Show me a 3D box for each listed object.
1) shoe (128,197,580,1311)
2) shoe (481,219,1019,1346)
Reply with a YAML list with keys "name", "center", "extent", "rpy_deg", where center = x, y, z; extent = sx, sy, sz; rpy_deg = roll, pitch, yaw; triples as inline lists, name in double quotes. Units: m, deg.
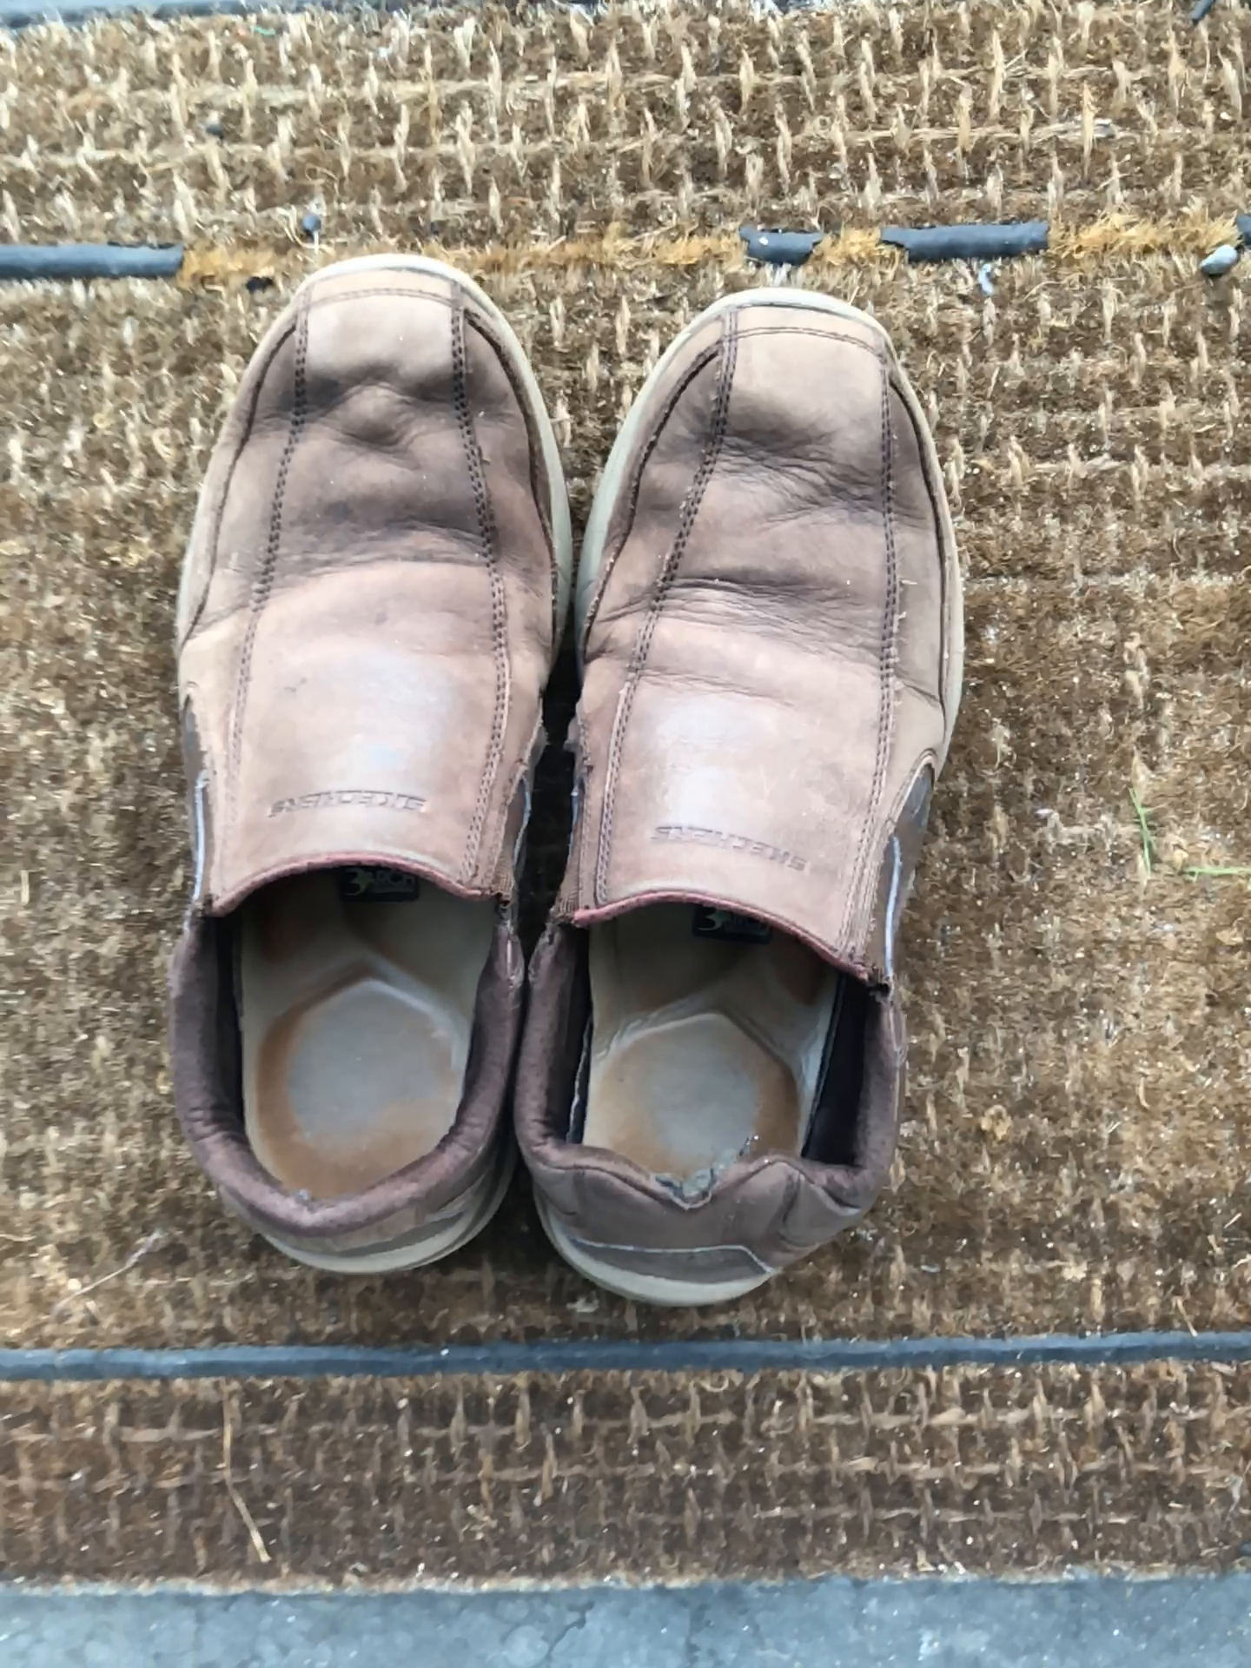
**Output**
- name: "shoe"
  center: [-0.069, -0.019, 0.384]
  extent: [0.100, 0.100, 0.267]
  rpy_deg: [2, 94, 0]
- name: "shoe"
  center: [0.027, -0.012, 0.370]
  extent: [0.100, 0.100, 0.254]
  rpy_deg: [5, 94, 0]
